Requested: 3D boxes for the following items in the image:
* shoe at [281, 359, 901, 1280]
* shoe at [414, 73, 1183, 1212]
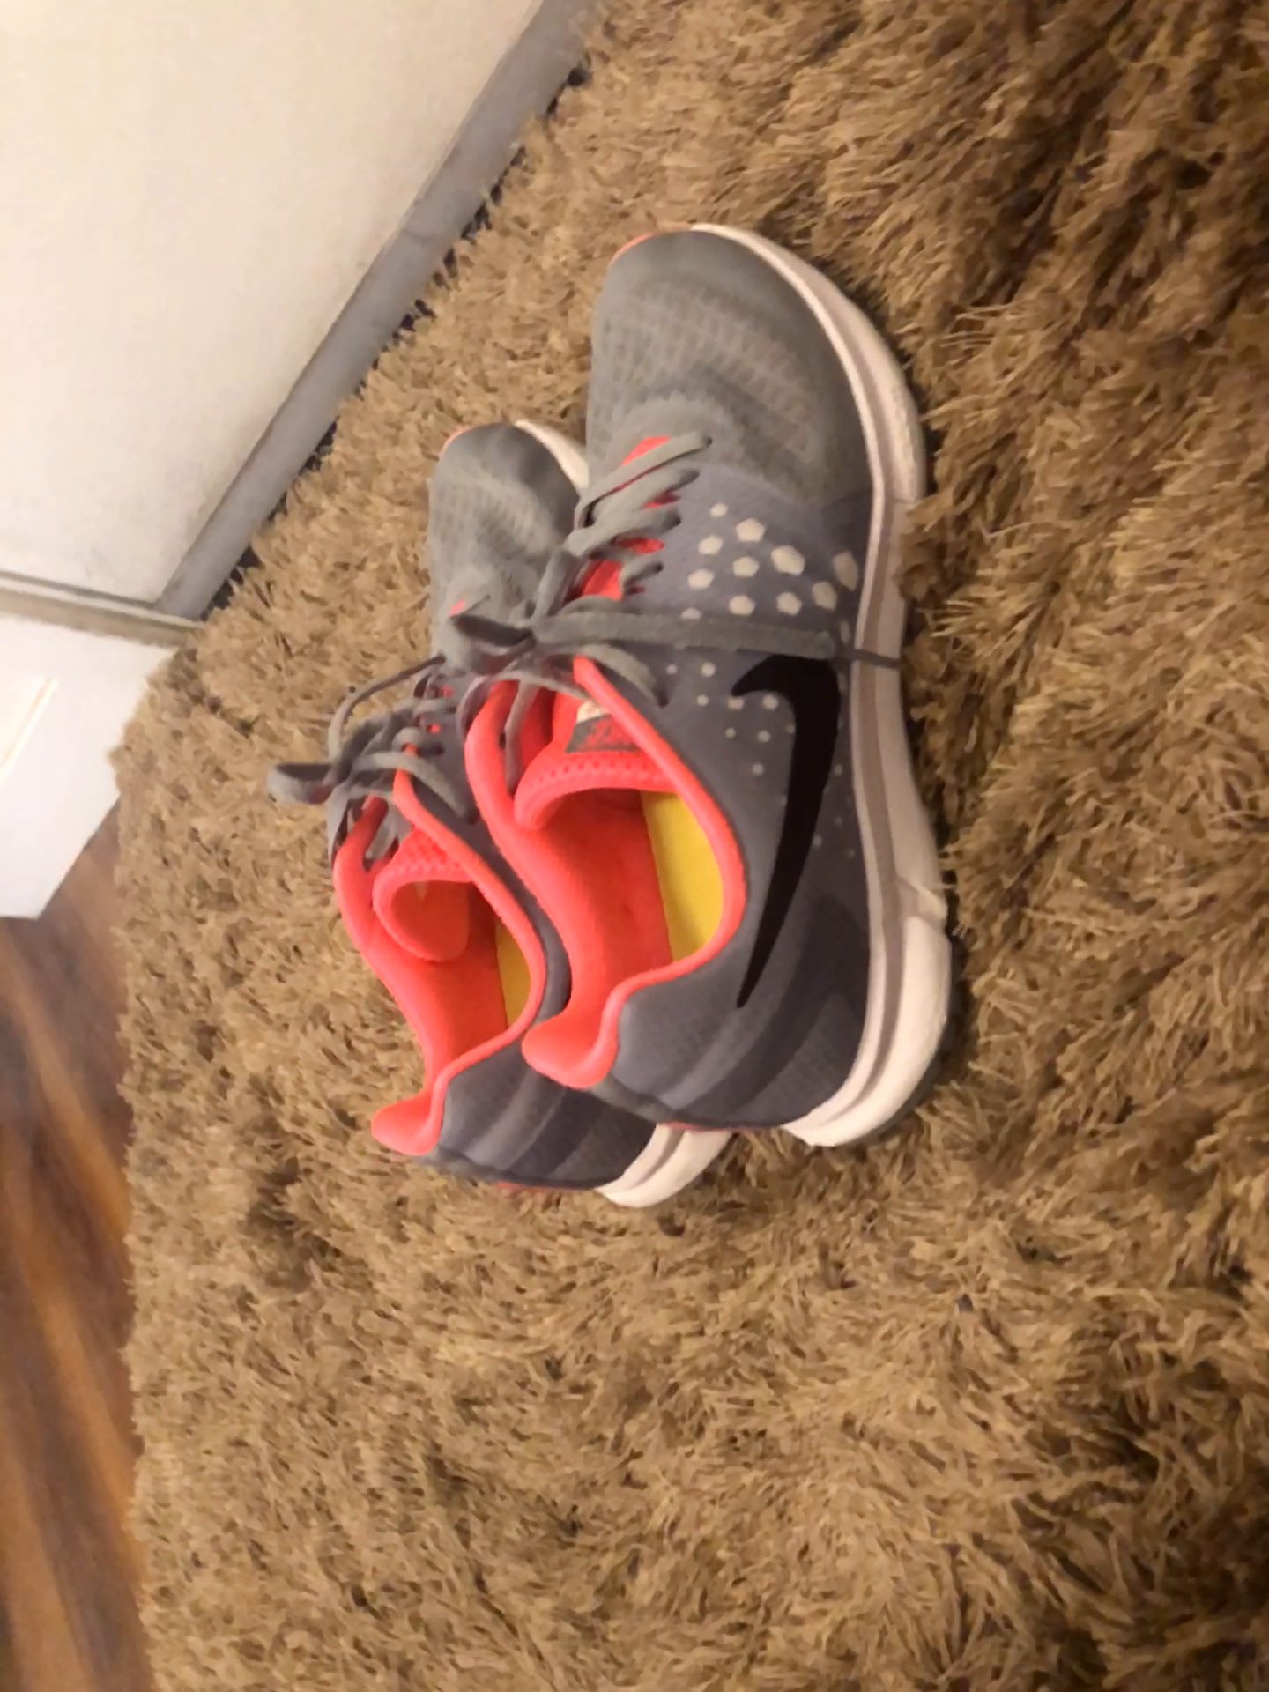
[{"bbox_3d":[-0.028,-0.007,0.475,0.114,0.121,0.270,-38,55,43],"label":"shoe"},{"bbox_3d":[0.031,-0.047,0.392,0.119,0.118,0.270,-32,59,46],"label":"shoe"}]
